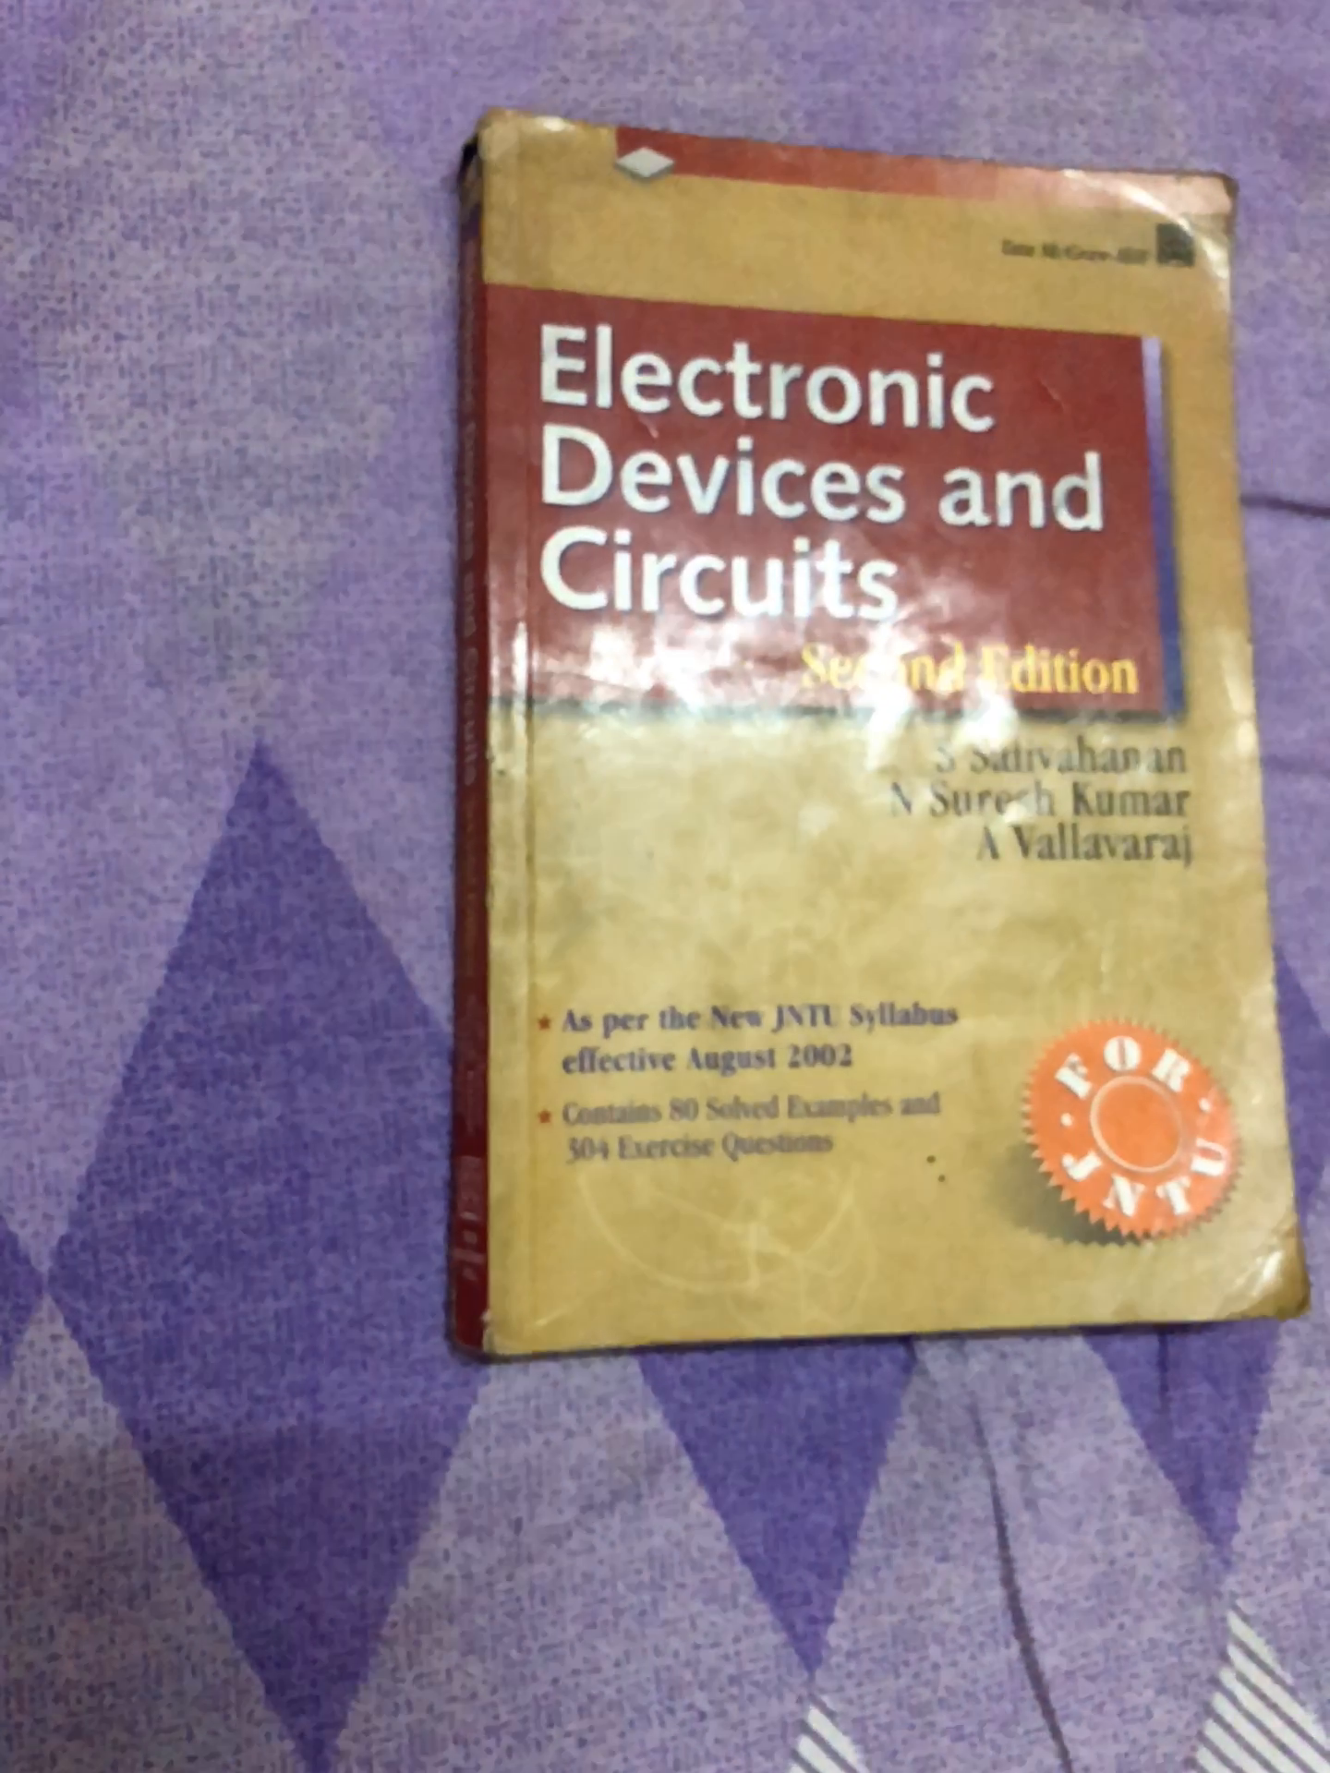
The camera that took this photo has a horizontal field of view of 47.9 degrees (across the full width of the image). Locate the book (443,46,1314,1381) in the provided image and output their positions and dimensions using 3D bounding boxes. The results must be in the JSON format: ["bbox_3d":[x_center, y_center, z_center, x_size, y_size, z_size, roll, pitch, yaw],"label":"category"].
[{"bbox_3d":[0.038,-0.034,0.298,0.160,0.040,0.240,0,85,-10],"label":"book"}]
